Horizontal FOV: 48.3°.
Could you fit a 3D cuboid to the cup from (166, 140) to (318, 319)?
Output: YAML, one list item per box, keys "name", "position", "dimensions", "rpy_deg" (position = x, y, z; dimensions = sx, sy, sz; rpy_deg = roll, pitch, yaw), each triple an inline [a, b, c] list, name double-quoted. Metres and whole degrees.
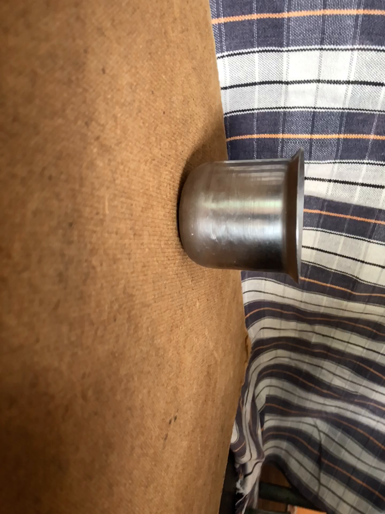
- name: "cup"
  position: [0.029, -0.019, 0.213]
  dimensions: [0.070, 0.060, 0.070]
  rpy_deg: [3, 90, -74]
